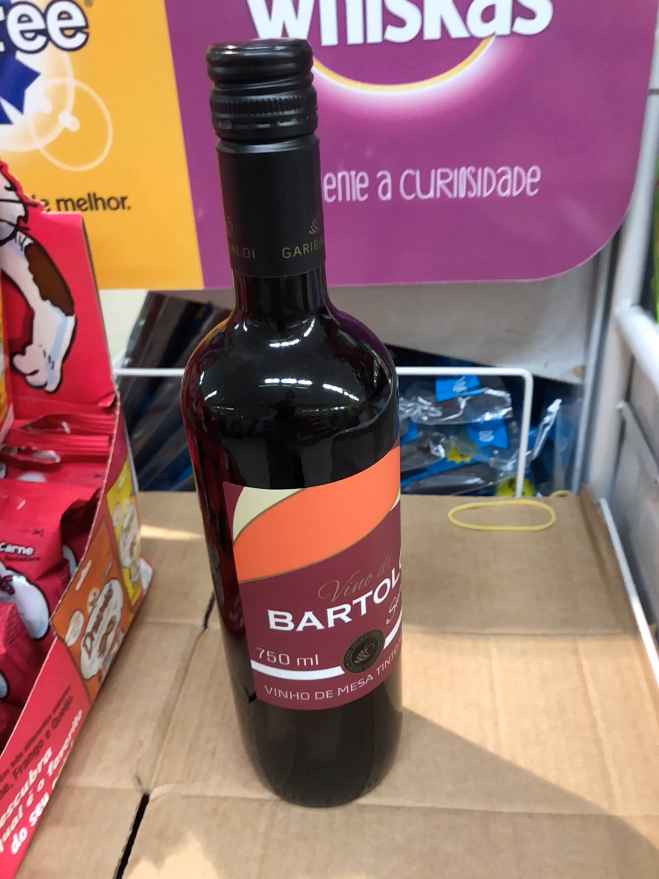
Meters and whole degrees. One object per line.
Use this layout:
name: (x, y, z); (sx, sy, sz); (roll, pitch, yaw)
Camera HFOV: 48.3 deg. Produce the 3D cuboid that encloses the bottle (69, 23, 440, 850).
bottle: (-0.012, 0.020, 0.272); (0.080, 0.298, 0.060); (-20, 35, -24)
